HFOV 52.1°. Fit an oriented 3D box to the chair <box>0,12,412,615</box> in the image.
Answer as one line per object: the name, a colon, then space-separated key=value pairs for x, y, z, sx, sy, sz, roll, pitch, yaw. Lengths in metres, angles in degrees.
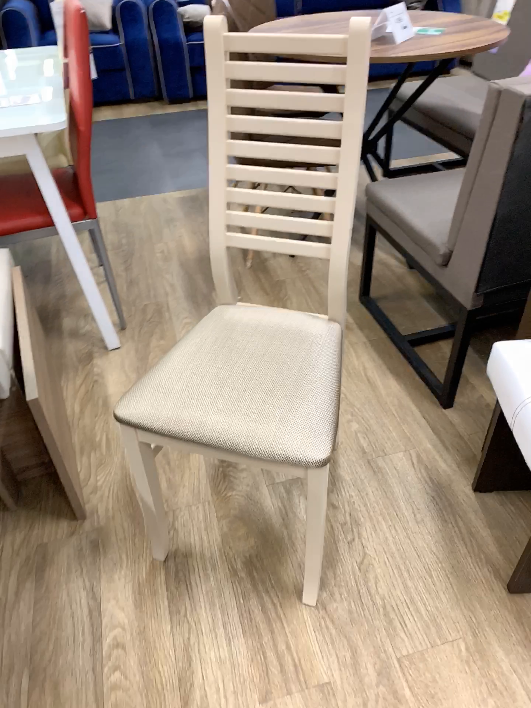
chair: x=-0.018 y=-0.035 z=1.010 sx=0.390 sy=0.969 sz=0.475 roll=10 pitch=40 yaw=15
